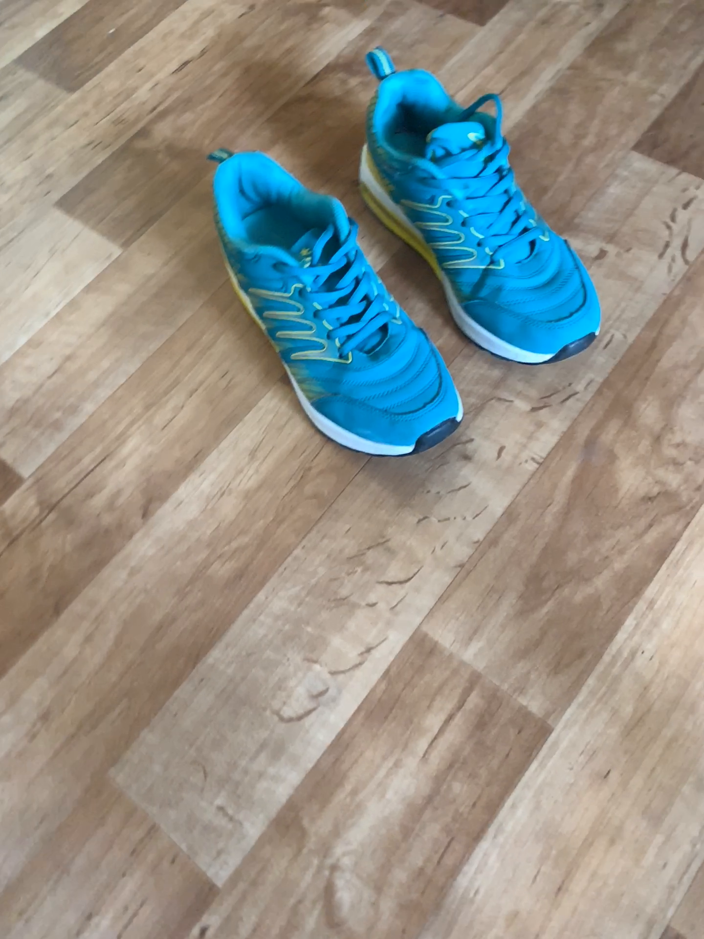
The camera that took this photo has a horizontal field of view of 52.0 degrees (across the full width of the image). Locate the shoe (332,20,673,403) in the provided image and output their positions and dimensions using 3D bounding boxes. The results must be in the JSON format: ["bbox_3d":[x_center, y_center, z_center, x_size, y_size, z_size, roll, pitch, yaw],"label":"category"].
[{"bbox_3d":[0.094,-0.190,0.528,0.100,0.120,0.240,-29,65,-9],"label":"shoe"}]

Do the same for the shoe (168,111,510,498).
[{"bbox_3d":[-0.014,-0.117,0.502,0.100,0.120,0.230,-33,65,-14],"label":"shoe"}]
